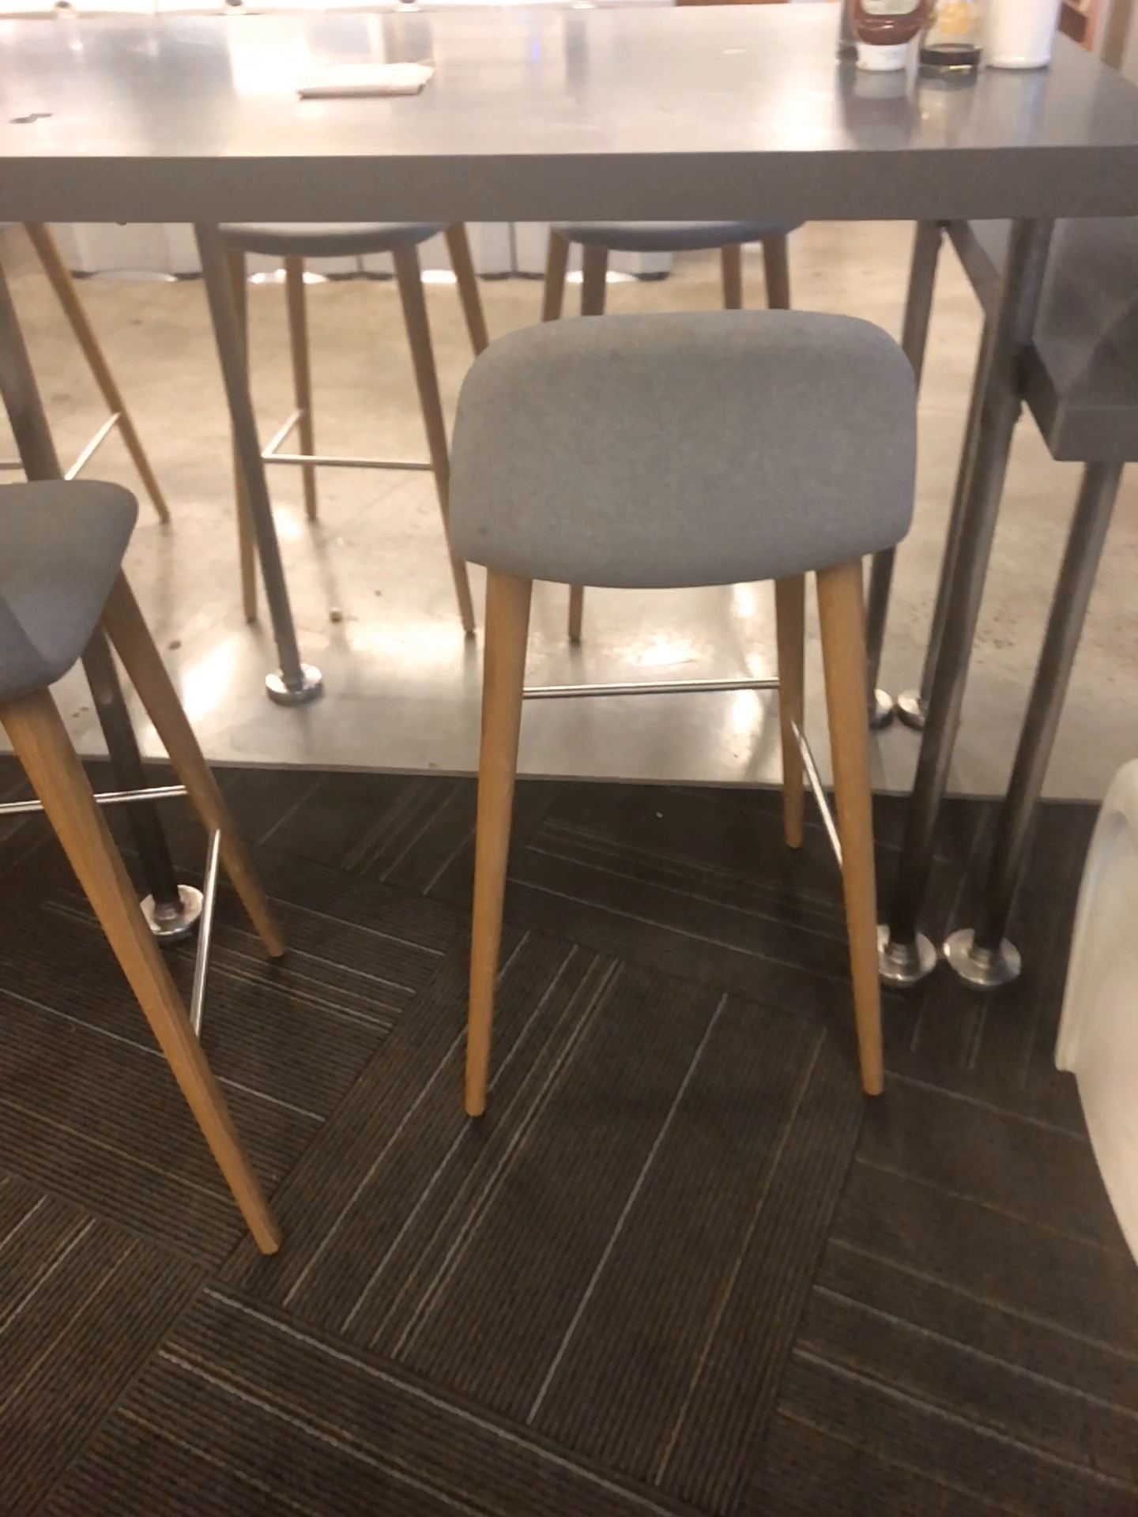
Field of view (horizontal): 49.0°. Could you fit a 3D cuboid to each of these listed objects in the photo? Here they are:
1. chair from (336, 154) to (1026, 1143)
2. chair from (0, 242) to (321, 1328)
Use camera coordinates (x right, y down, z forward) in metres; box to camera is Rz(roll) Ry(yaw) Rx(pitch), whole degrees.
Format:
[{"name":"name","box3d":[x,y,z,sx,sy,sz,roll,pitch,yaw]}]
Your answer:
[{"name":"chair","box3d":[0.101,-0.097,1.501,0.540,1.031,0.545,-2,36,1]},{"name":"chair","box3d":[-0.633,0.046,1.294,0.570,0.942,0.545,-5,36,-3]}]
